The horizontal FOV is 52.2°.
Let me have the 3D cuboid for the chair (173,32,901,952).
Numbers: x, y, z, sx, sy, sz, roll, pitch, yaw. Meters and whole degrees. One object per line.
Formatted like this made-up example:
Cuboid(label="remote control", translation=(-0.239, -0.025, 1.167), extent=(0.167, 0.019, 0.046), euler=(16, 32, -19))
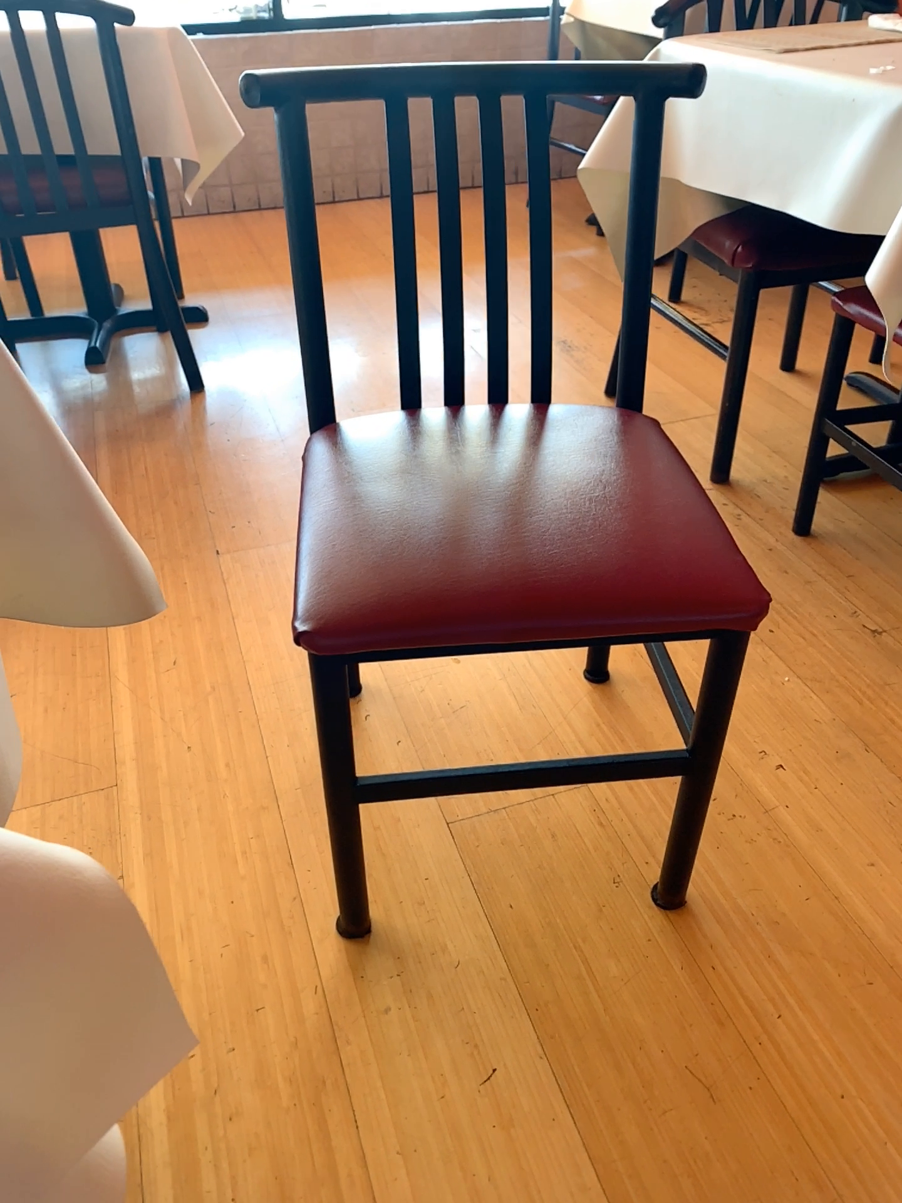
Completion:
Cuboid(label="chair", translation=(0.047, -0.131, 0.949), extent=(0.480, 0.726, 0.574), euler=(-3, 36, -7))
